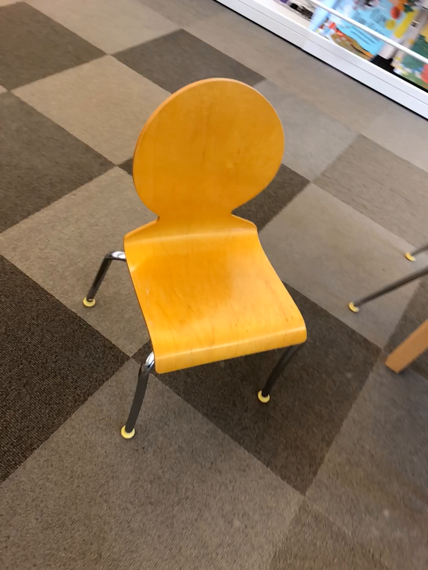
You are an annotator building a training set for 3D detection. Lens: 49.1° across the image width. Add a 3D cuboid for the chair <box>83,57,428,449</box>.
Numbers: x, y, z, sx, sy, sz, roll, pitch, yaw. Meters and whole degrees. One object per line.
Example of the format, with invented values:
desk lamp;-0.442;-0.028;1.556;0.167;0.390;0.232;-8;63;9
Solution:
chair;-0.013;-0.035;1.083;0.466;0.723;0.471;-8;55;-23
